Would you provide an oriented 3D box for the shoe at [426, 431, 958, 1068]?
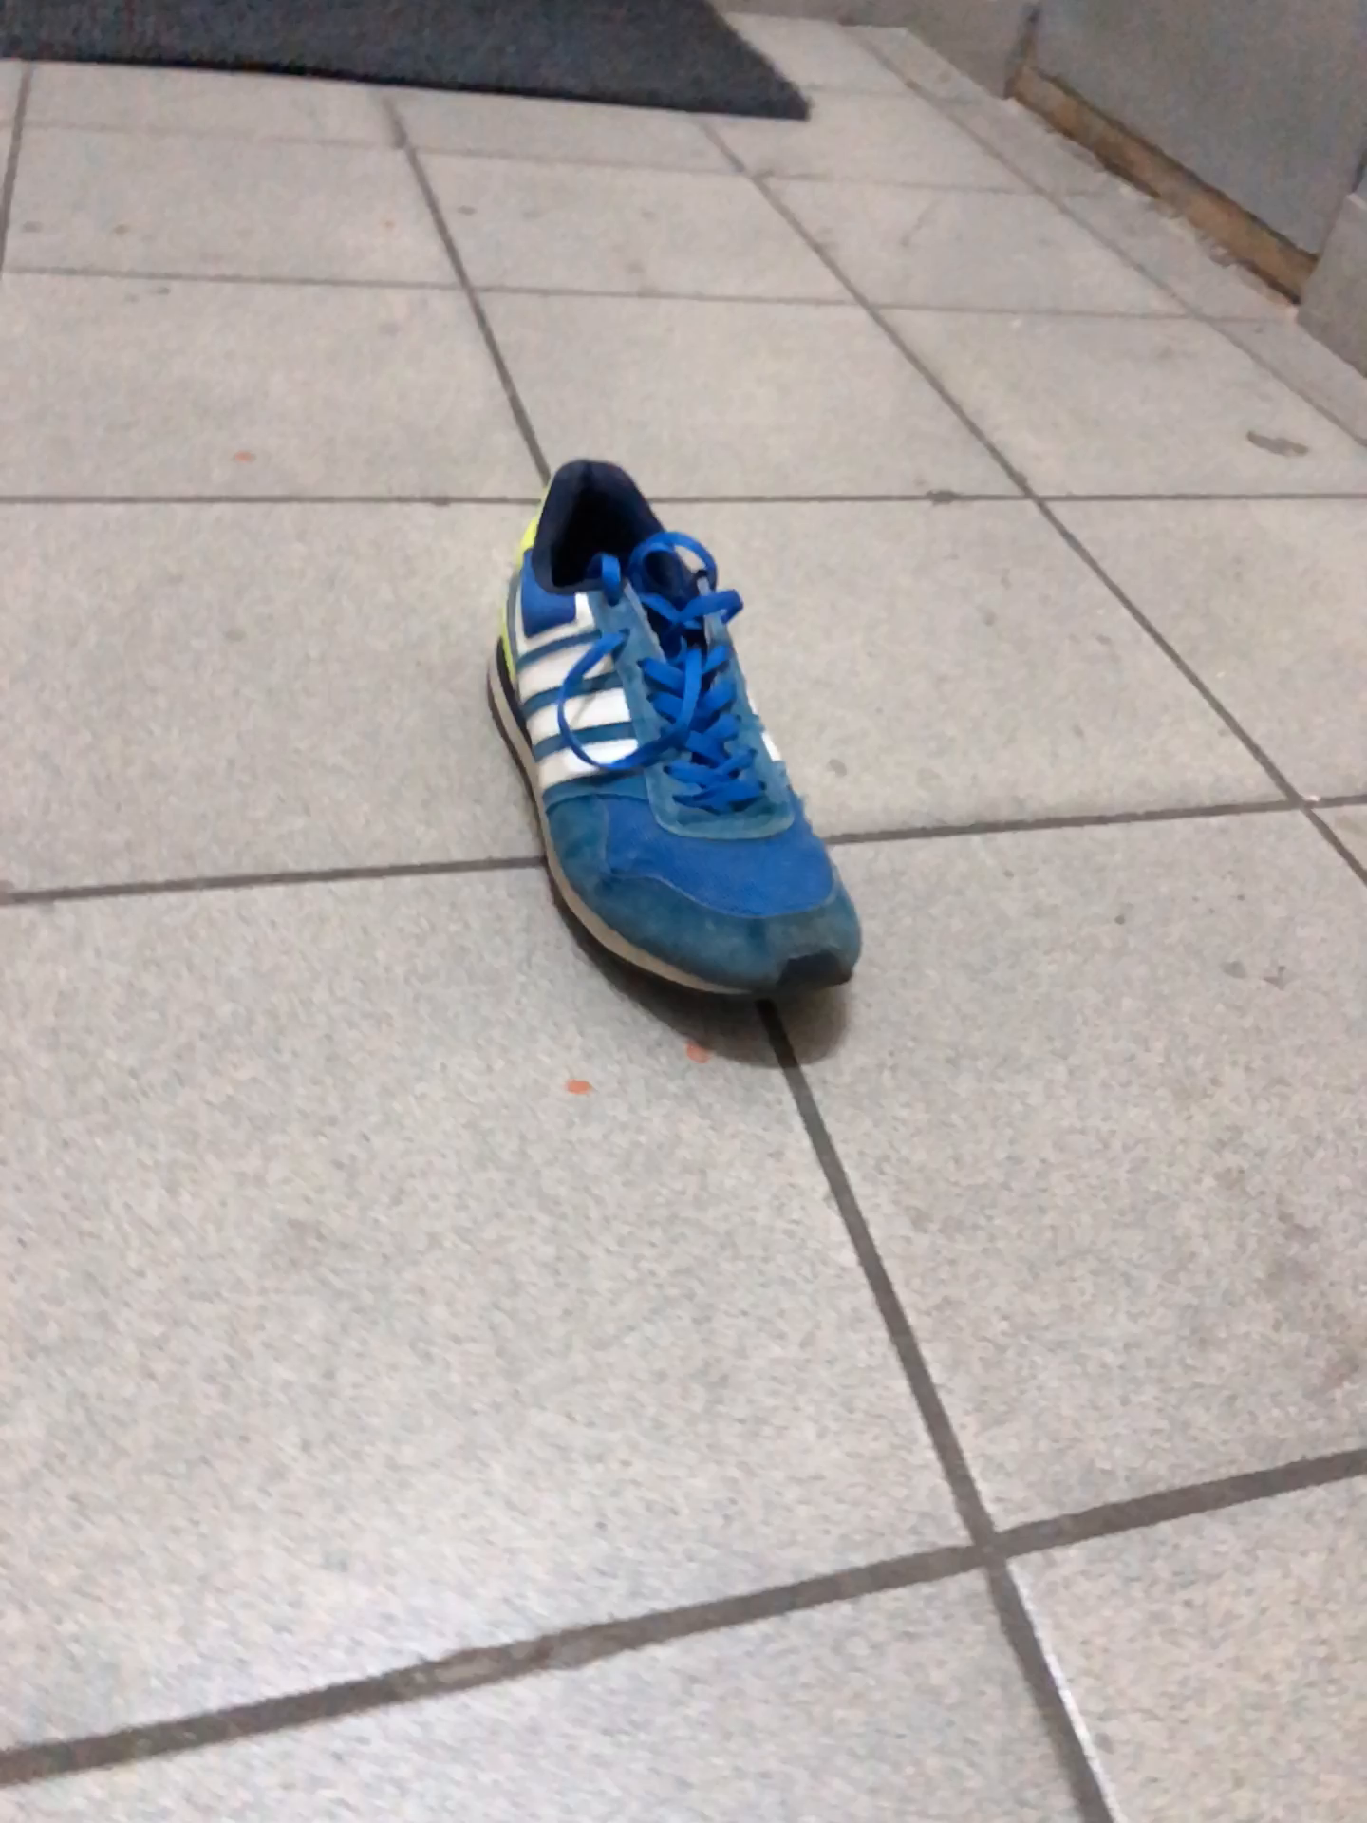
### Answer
[{"bbox_3d":[-0.016,-0.085,0.624,0.110,0.099,0.293,-9,45,-21],"label":"shoe"}]
